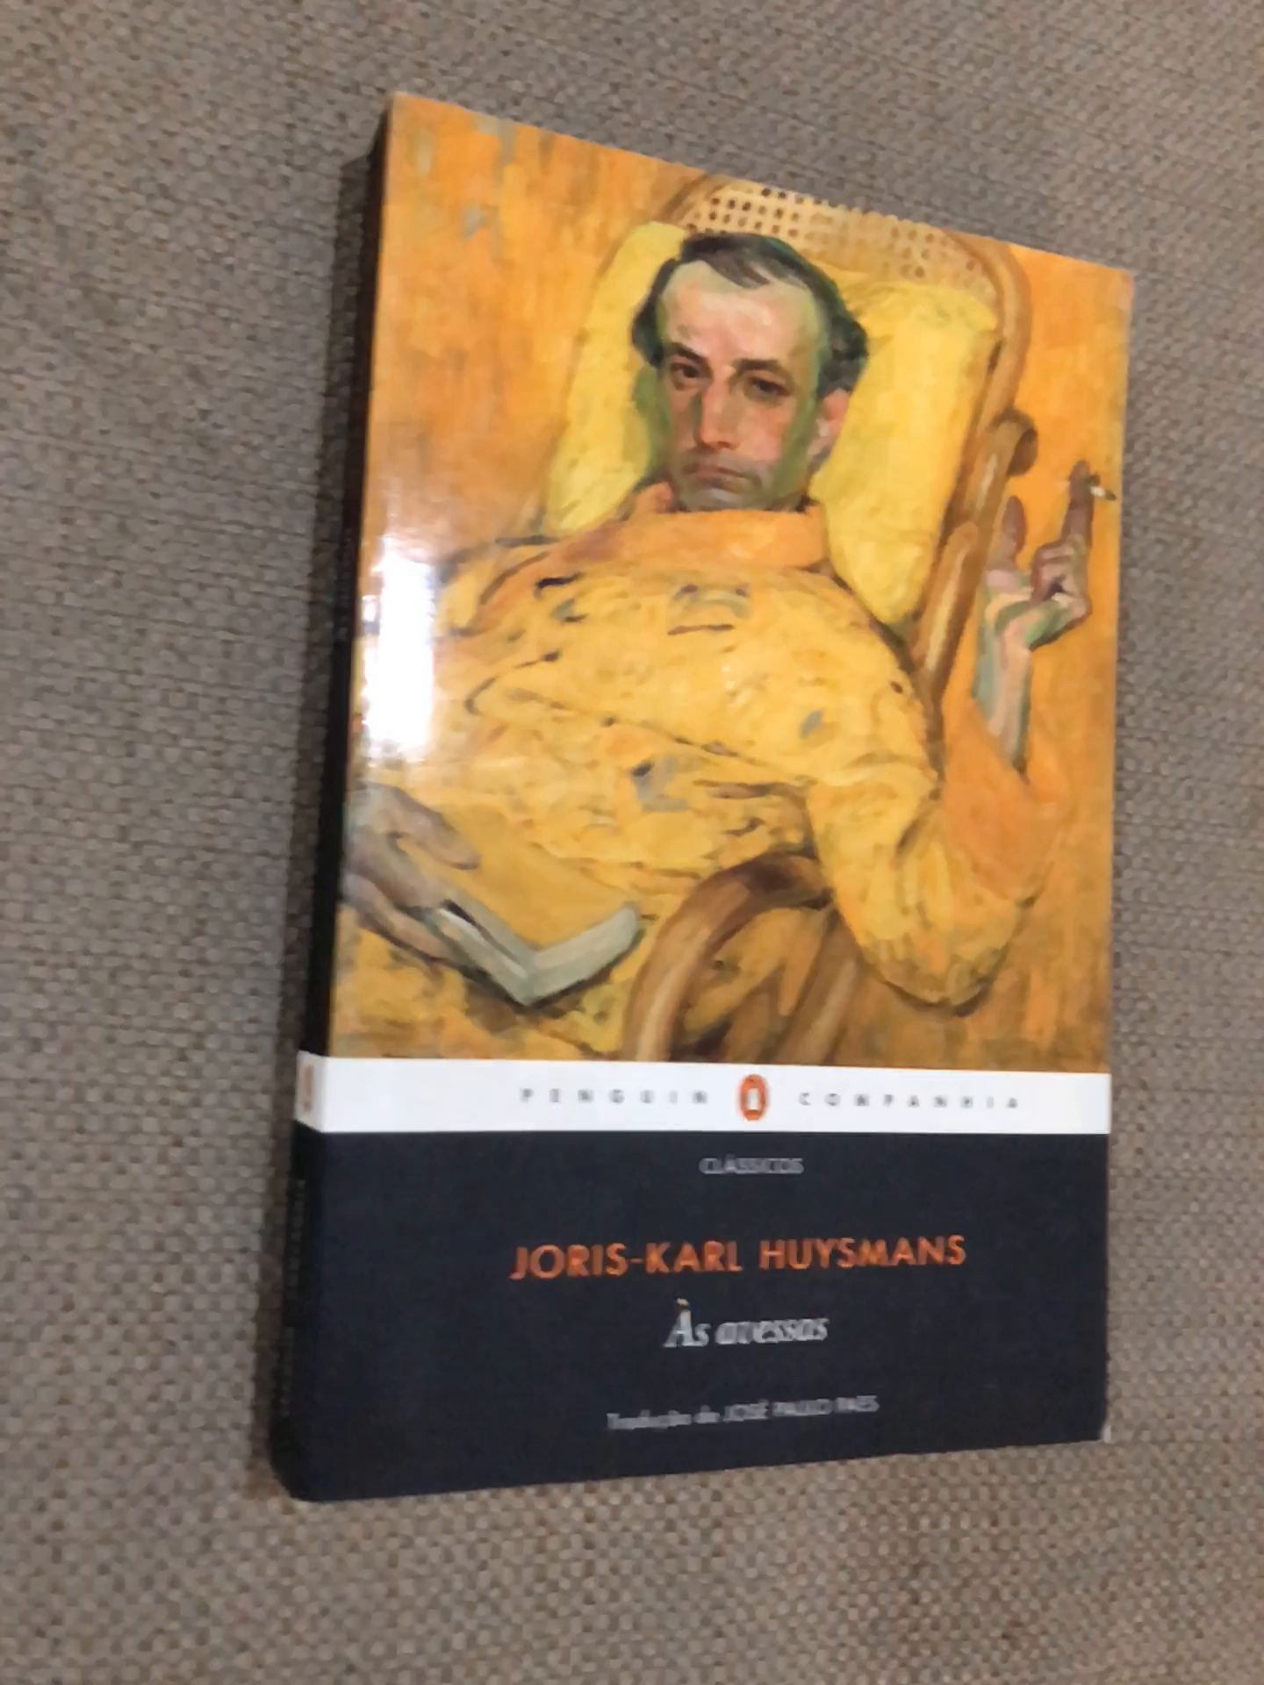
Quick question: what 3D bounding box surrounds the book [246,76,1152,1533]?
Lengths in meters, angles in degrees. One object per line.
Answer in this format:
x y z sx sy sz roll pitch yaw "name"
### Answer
0.016 -0.003 0.219 0.130 0.023 0.195 5 85 -18 "book"
